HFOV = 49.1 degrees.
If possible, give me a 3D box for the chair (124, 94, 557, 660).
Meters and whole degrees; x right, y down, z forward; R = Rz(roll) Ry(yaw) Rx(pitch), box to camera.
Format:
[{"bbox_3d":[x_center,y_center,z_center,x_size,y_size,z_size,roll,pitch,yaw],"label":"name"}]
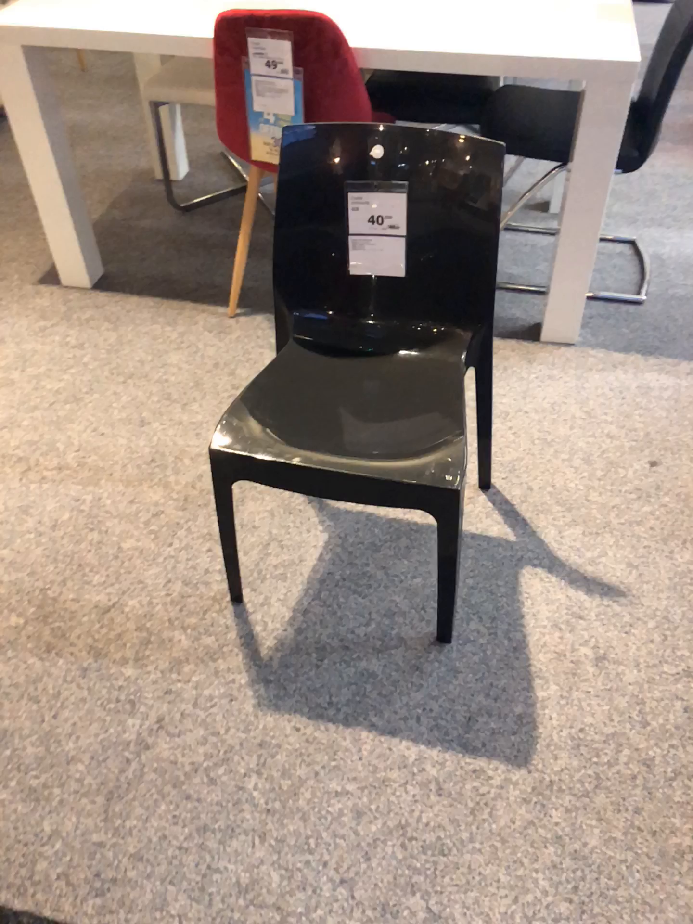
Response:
[{"bbox_3d":[0.041,-0.142,1.362,0.520,0.766,0.574,8,45,8],"label":"chair"}]
